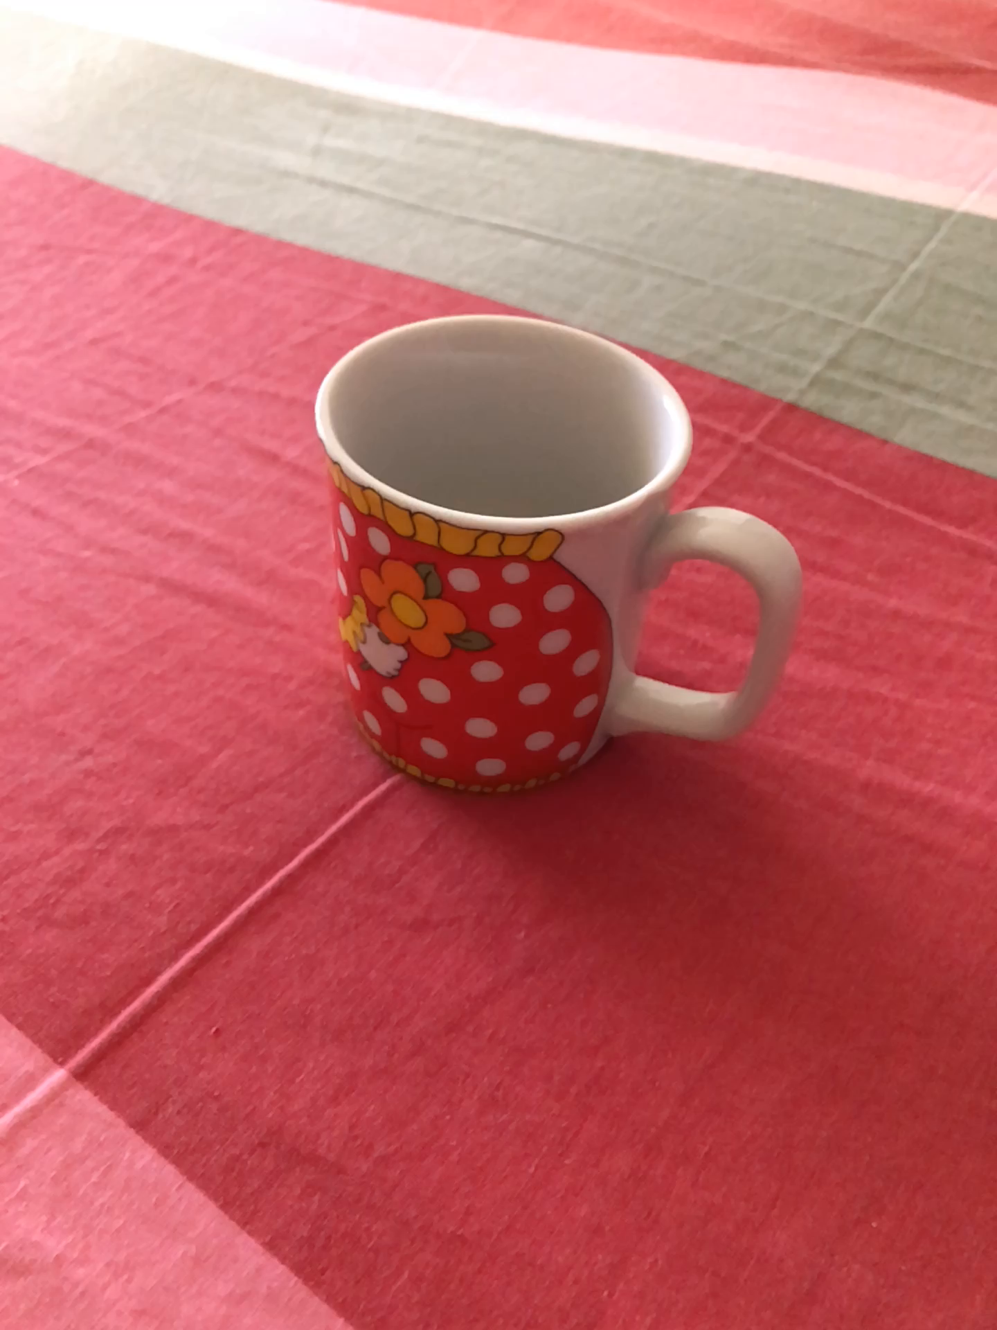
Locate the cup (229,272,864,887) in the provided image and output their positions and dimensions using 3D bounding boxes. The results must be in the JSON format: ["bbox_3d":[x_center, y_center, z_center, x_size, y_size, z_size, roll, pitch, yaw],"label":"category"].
[{"bbox_3d":[0.013,-0.024,0.274,0.116,0.086,0.089,17,48,12],"label":"cup"}]
